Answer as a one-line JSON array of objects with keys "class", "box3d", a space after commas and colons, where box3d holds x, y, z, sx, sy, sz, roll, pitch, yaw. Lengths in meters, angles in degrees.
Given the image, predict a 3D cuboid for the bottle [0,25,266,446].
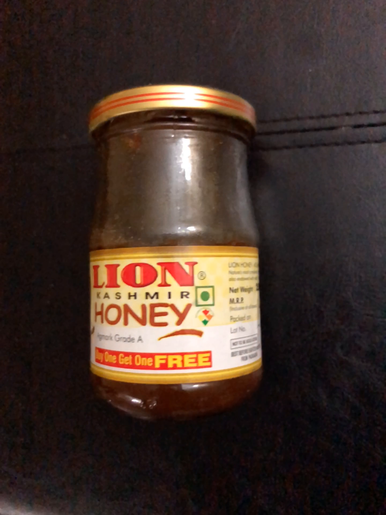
[{"class": "bottle", "box3d": [-0.017, -0.004, 0.161, 0.069, 0.070, 0.110, -2, 86, 24]}]
